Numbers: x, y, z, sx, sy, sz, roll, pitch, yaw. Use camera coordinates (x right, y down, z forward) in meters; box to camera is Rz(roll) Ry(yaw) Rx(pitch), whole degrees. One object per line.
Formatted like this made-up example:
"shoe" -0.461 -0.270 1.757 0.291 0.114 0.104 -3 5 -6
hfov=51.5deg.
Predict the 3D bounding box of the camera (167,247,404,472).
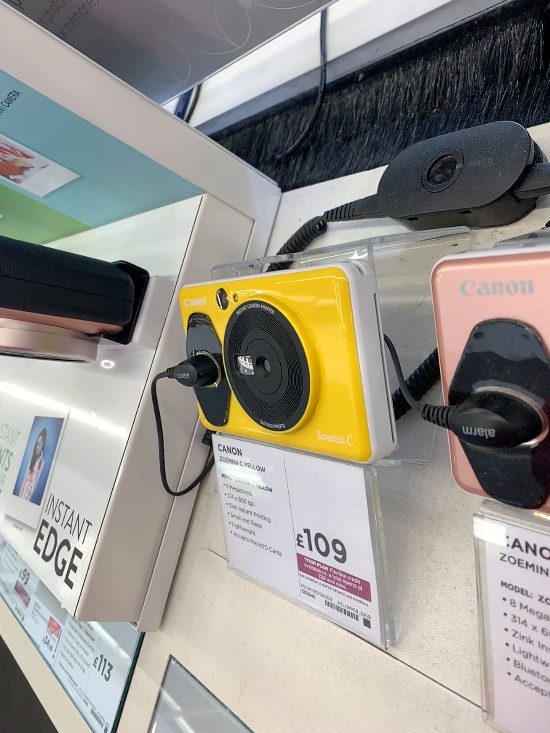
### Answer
"camera" -0.002 -0.005 0.255 0.121 0.020 0.080 3 106 51
